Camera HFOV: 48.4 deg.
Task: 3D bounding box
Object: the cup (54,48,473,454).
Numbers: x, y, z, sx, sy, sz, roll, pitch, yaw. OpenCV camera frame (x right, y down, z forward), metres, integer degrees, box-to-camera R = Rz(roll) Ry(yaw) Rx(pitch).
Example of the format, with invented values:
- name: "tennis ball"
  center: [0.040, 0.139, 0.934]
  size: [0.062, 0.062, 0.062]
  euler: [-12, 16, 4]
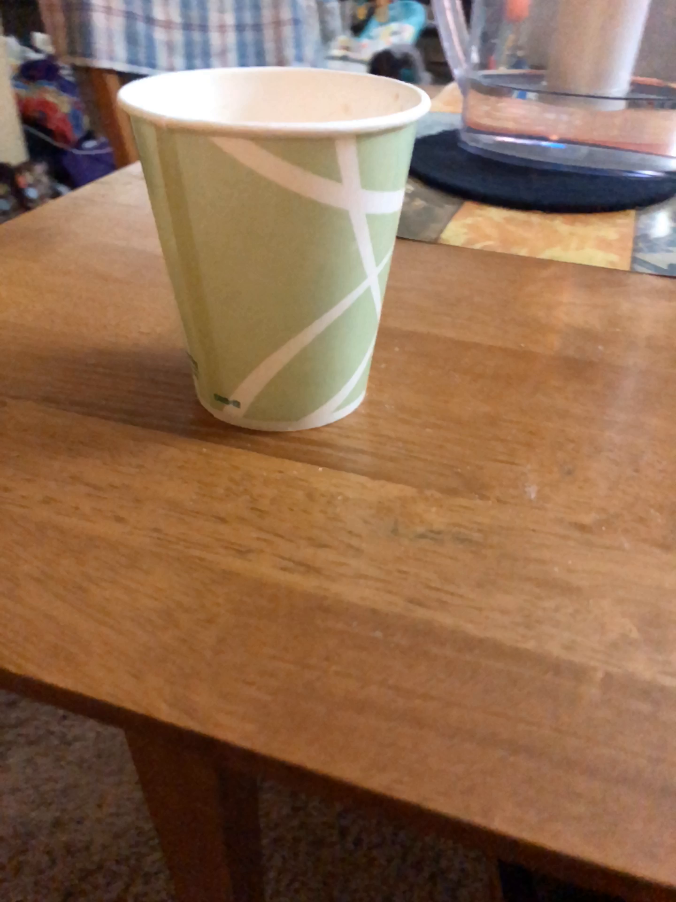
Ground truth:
- name: "cup"
  center: [-0.015, -0.072, 0.245]
  size: [0.090, 0.090, 0.100]
  euler: [11, 36, 14]
